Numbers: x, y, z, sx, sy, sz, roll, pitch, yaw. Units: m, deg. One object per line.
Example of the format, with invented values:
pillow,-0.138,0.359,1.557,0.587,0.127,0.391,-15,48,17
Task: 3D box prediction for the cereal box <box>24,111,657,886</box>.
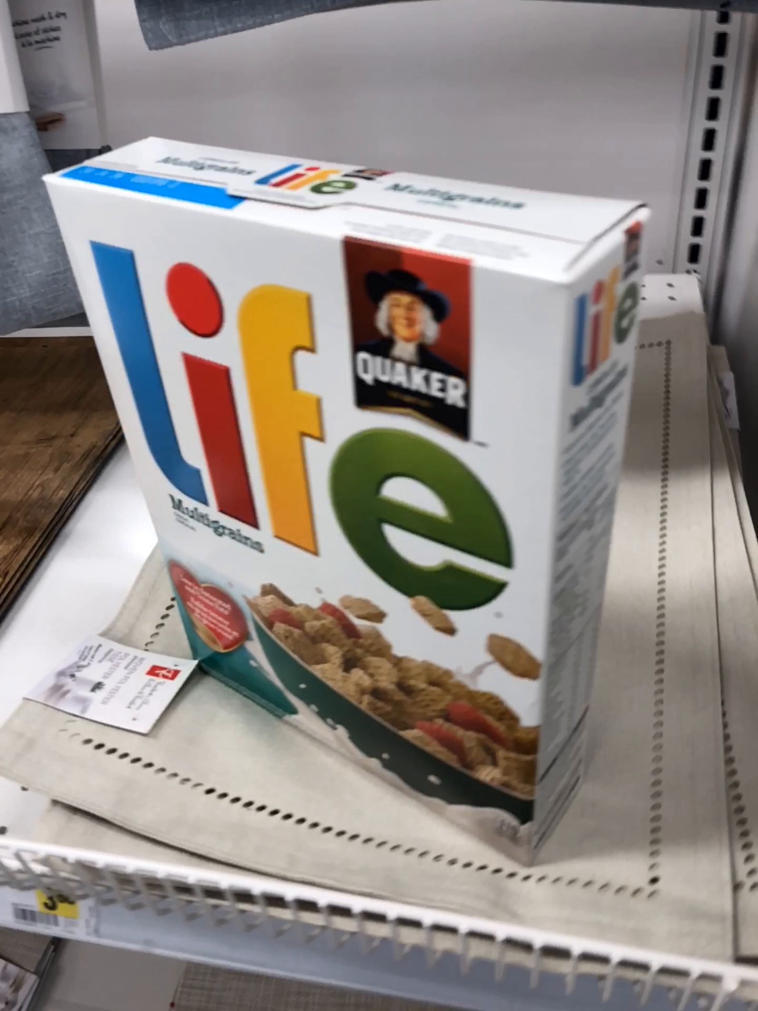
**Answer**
cereal box,-0.018,0.002,0.348,0.211,0.279,0.060,22,44,30
